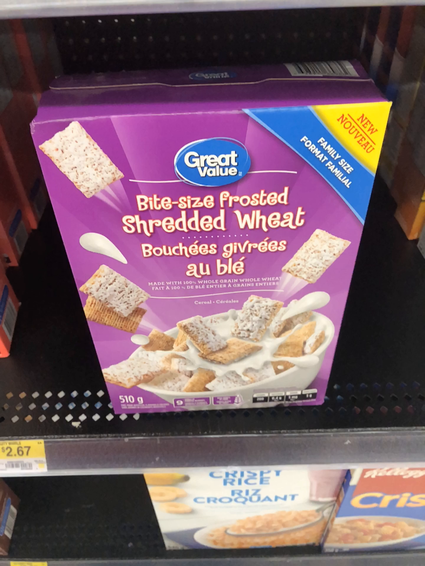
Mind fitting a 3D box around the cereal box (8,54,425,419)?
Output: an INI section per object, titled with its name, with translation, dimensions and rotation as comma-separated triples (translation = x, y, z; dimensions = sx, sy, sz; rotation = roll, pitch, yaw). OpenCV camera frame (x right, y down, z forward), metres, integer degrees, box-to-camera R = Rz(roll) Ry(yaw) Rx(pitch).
[cereal box]
translation = 0.006, -0.008, 0.355
dimensions = 0.210, 0.279, 0.070
rotation = -2, 42, 0
